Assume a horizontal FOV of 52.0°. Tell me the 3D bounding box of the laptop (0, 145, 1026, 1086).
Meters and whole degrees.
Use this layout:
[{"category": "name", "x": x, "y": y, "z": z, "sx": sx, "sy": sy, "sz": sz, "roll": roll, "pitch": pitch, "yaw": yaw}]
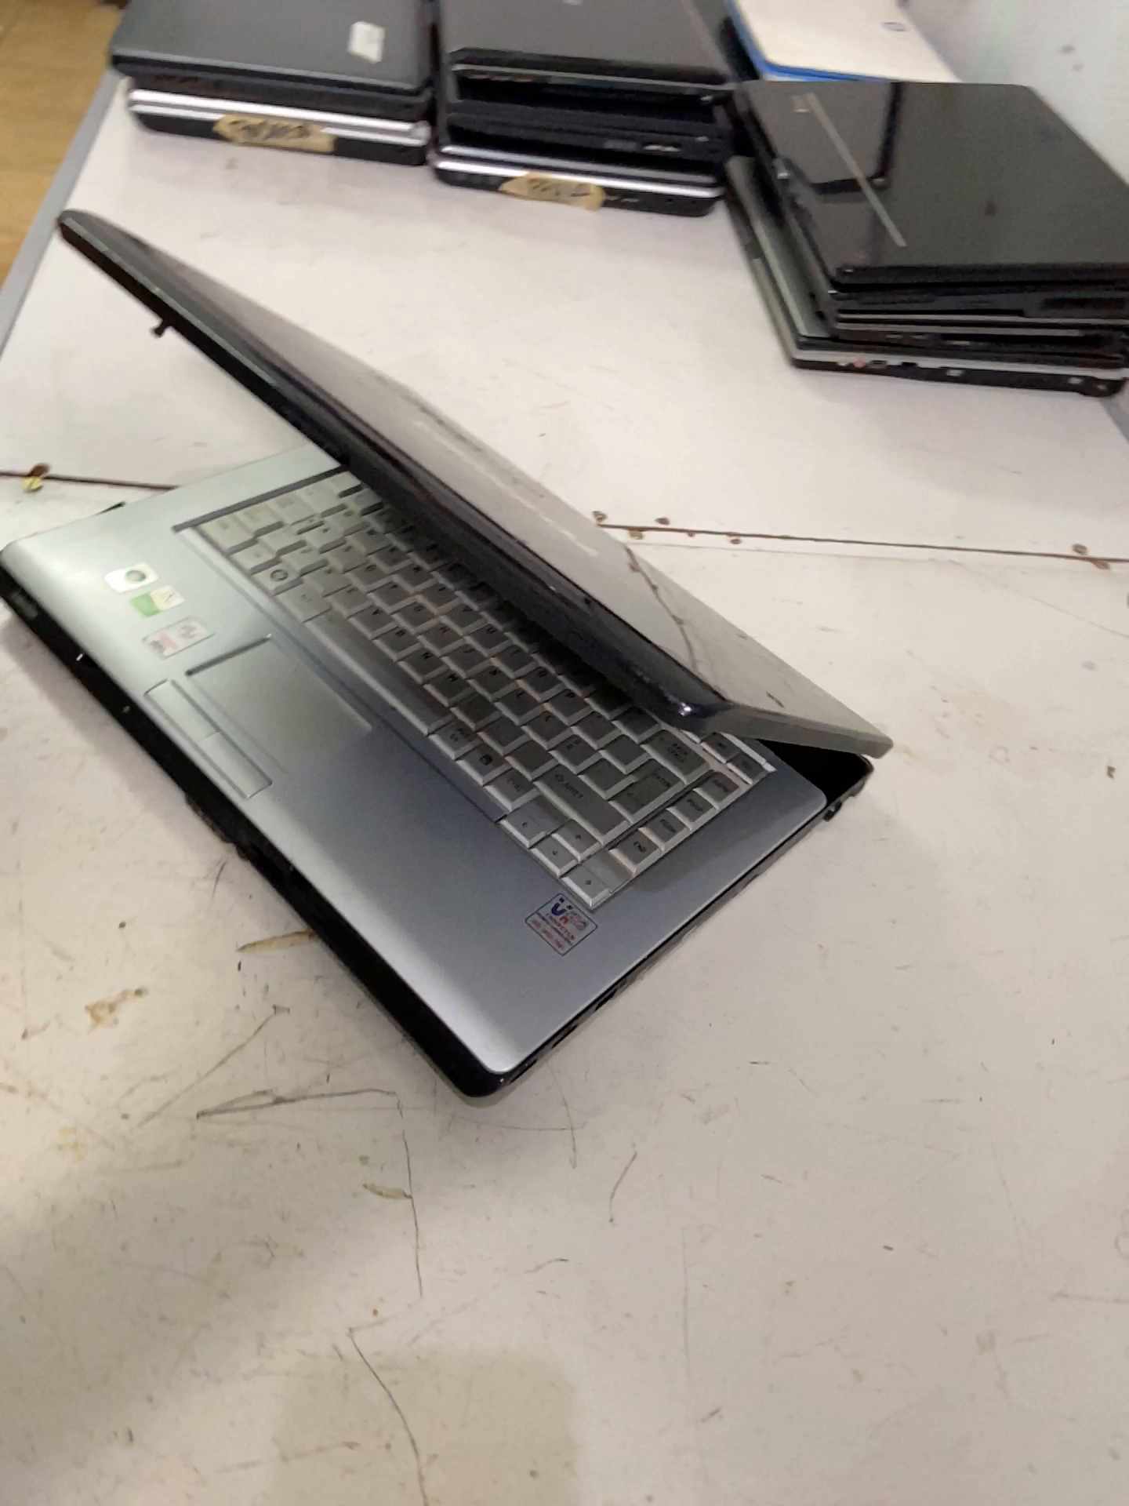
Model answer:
[{"category": "laptop", "x": -0.050, "y": -0.094, "z": 0.488, "sx": 0.346, "sy": 0.152, "sz": 0.258, "roll": 40, "pitch": 52, "yaw": 24}]
